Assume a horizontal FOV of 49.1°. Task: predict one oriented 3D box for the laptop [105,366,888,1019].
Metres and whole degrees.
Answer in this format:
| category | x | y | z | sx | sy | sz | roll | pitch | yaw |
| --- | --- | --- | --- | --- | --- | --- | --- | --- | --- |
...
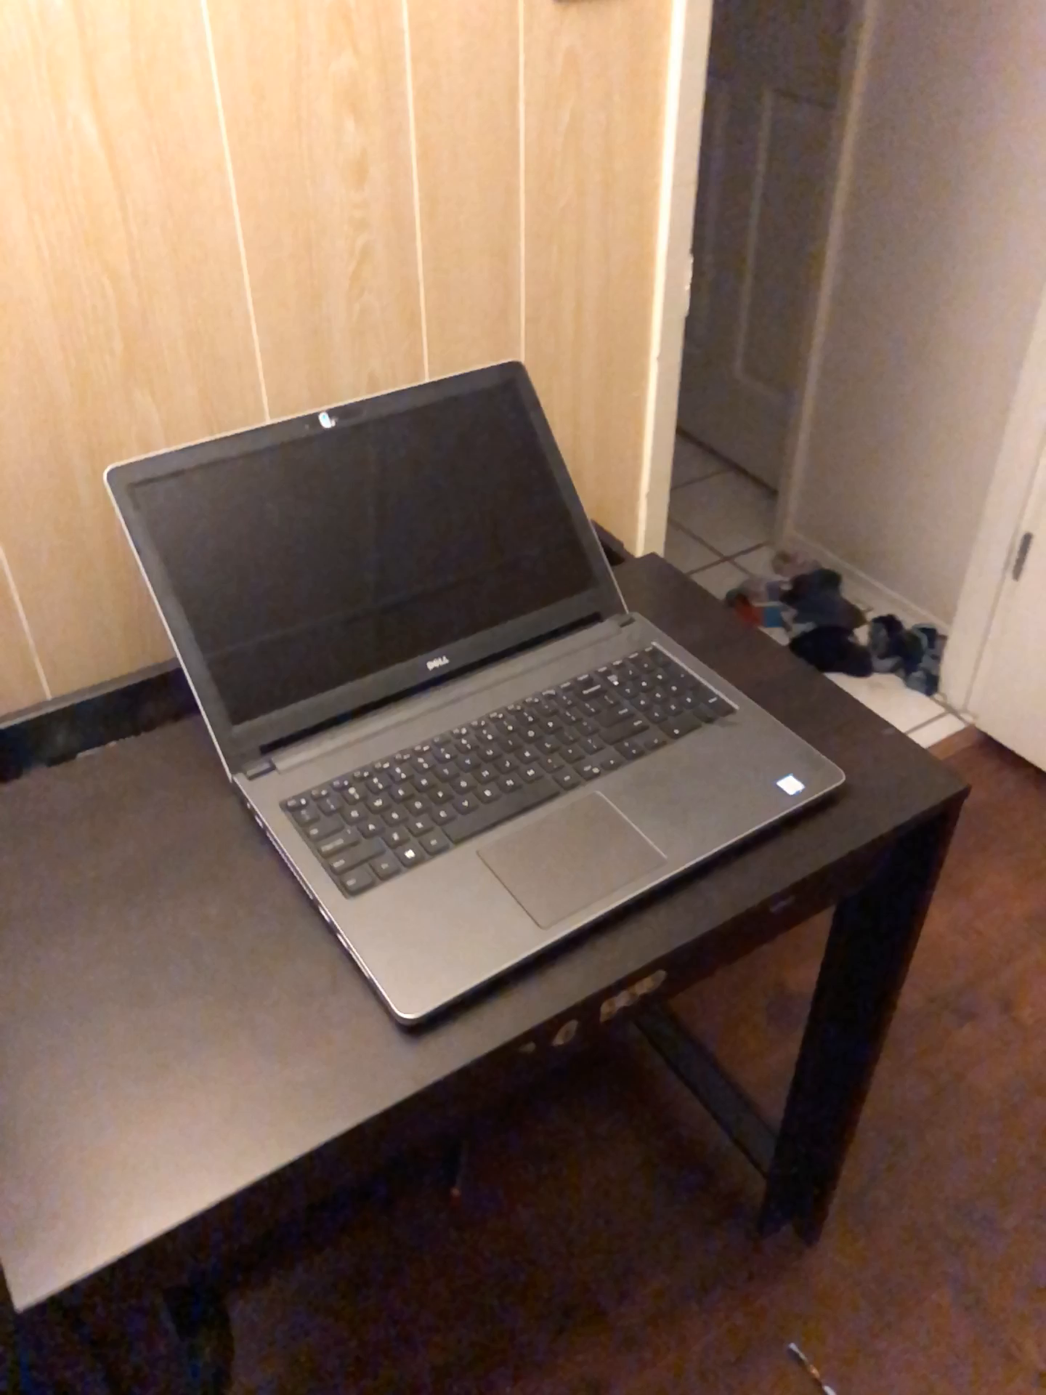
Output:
| category | x | y | z | sx | sy | sz | roll | pitch | yaw |
| --- | --- | --- | --- | --- | --- | --- | --- | --- | --- |
| laptop | -0.038 | -0.052 | 0.844 | 0.368 | 0.172 | 0.428 | -23 | 44 | -26 |
